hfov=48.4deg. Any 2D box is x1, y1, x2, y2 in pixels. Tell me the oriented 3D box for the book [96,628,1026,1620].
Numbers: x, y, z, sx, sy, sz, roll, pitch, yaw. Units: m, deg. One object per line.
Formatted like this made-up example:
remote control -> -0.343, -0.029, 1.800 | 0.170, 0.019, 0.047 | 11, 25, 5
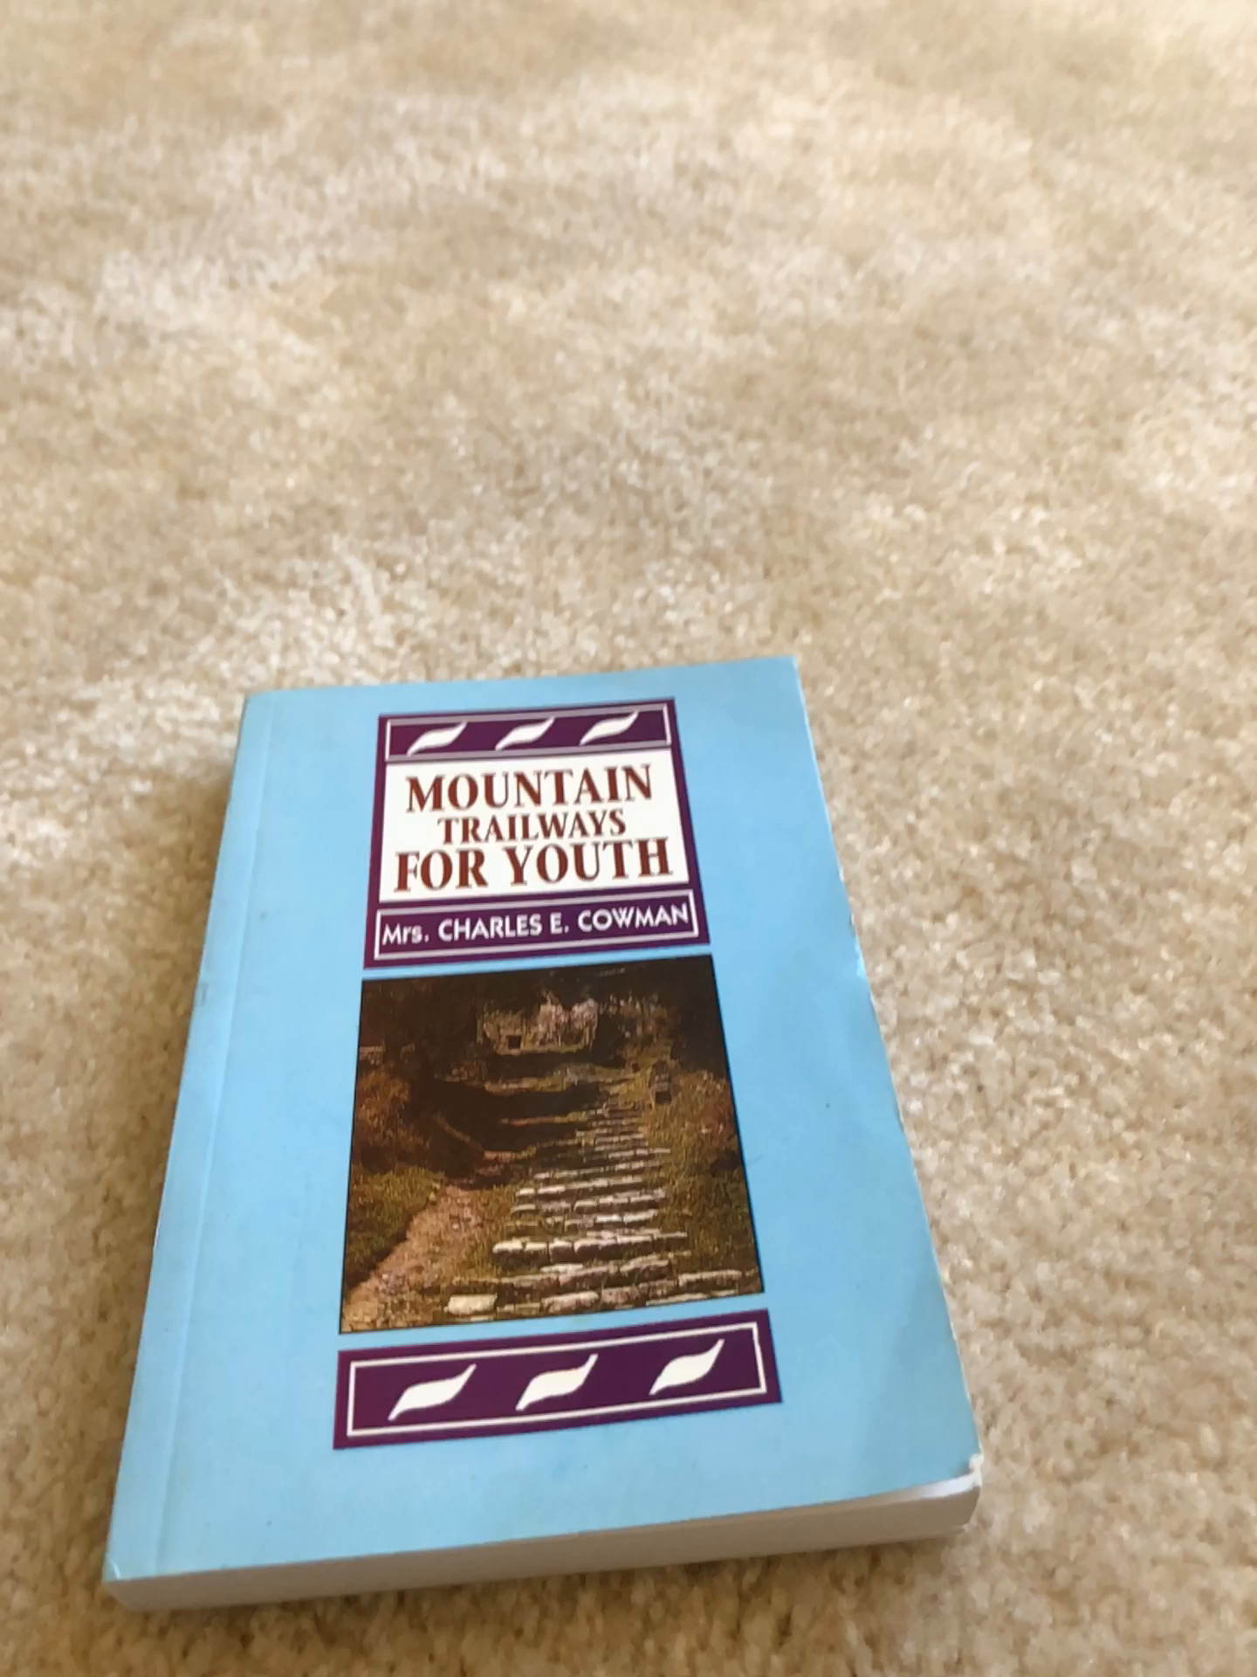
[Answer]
book -> -0.014, 0.035, 0.250 | 0.122, 0.030, 0.171 | -5, 49, 0
